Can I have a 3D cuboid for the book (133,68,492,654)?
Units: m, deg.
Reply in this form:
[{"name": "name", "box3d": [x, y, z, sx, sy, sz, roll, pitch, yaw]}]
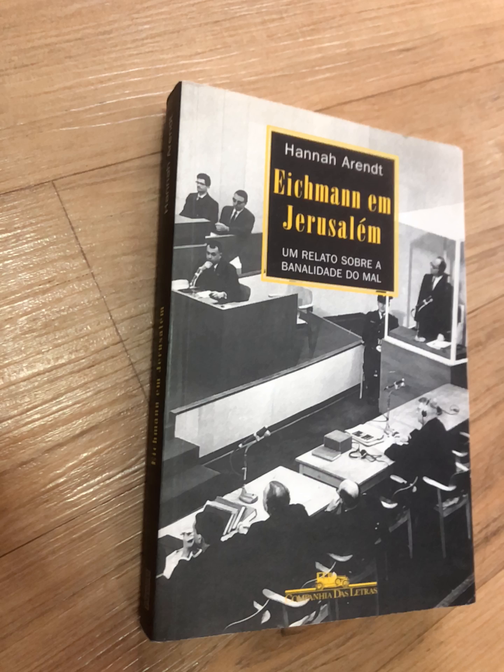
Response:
[{"name": "book", "box3d": [0.031, 0.008, 0.232, 0.145, 0.023, 0.202, 4, 81, -22]}]
